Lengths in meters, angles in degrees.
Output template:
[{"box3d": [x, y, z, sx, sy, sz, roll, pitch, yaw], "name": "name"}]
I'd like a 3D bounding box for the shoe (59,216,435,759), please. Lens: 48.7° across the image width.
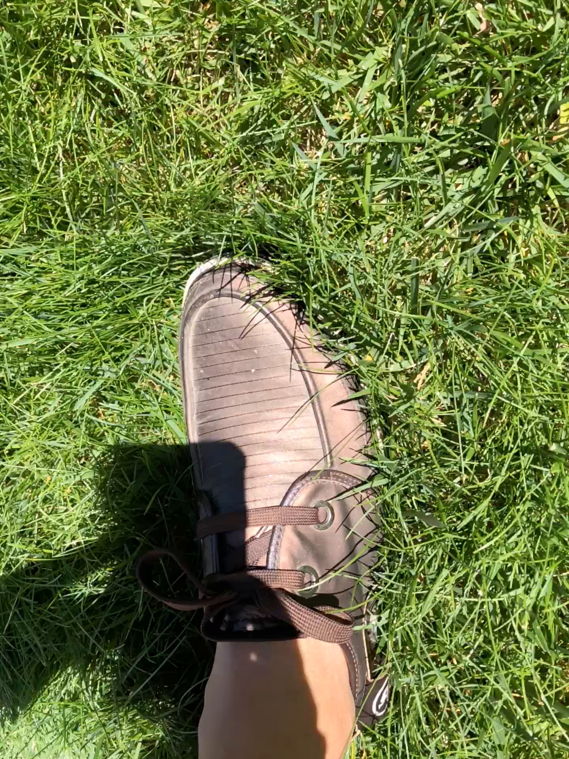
[{"box3d": [-0.005, 0.075, 0.334, 0.110, 0.107, 0.293, -7, 99, 23], "name": "shoe"}]
